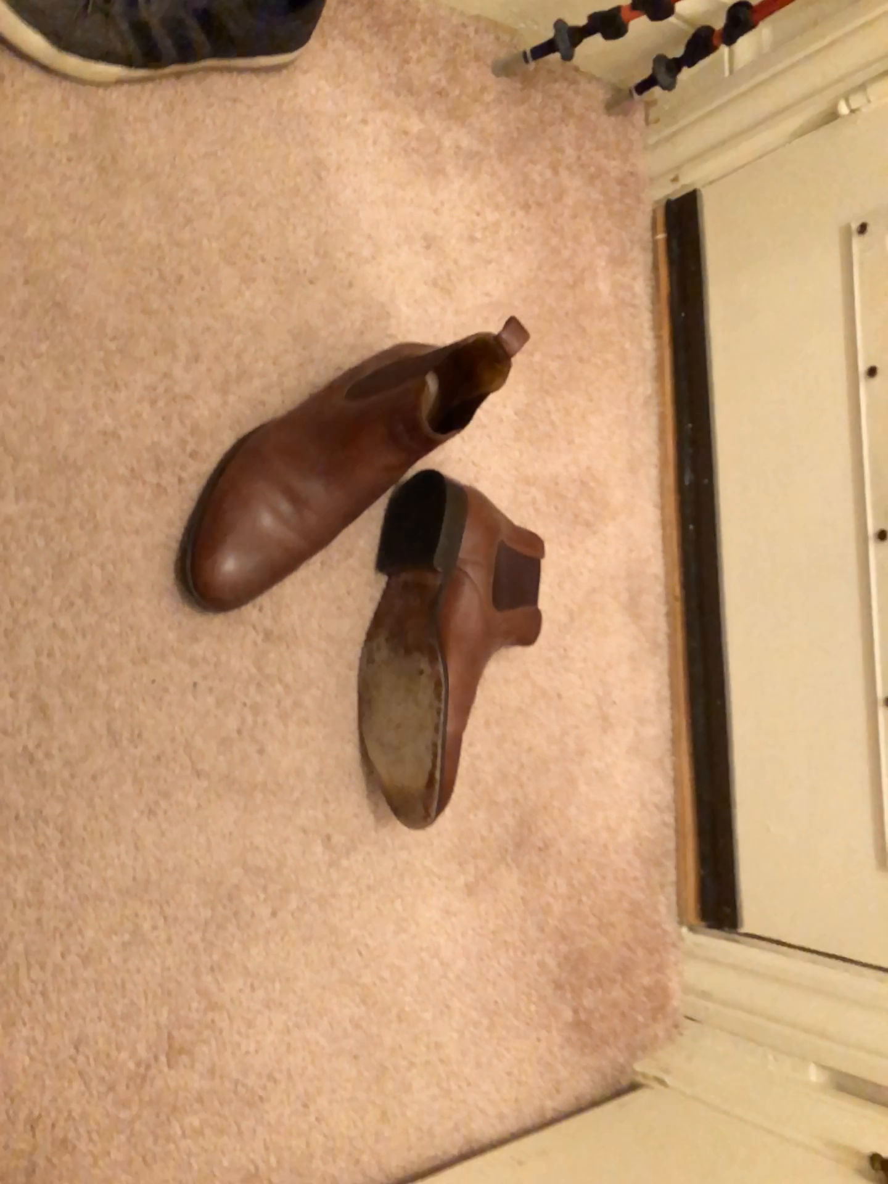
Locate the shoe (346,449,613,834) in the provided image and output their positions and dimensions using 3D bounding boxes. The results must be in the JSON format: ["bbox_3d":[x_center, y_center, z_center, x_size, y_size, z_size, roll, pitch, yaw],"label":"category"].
[{"bbox_3d":[0.034,0.049,0.848,0.170,0.119,0.296,11,81,-37],"label":"shoe"}]

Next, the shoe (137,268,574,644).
[{"bbox_3d":[-0.062,-0.102,0.749,0.297,0.158,0.109,-48,113,-29],"label":"shoe"}]
